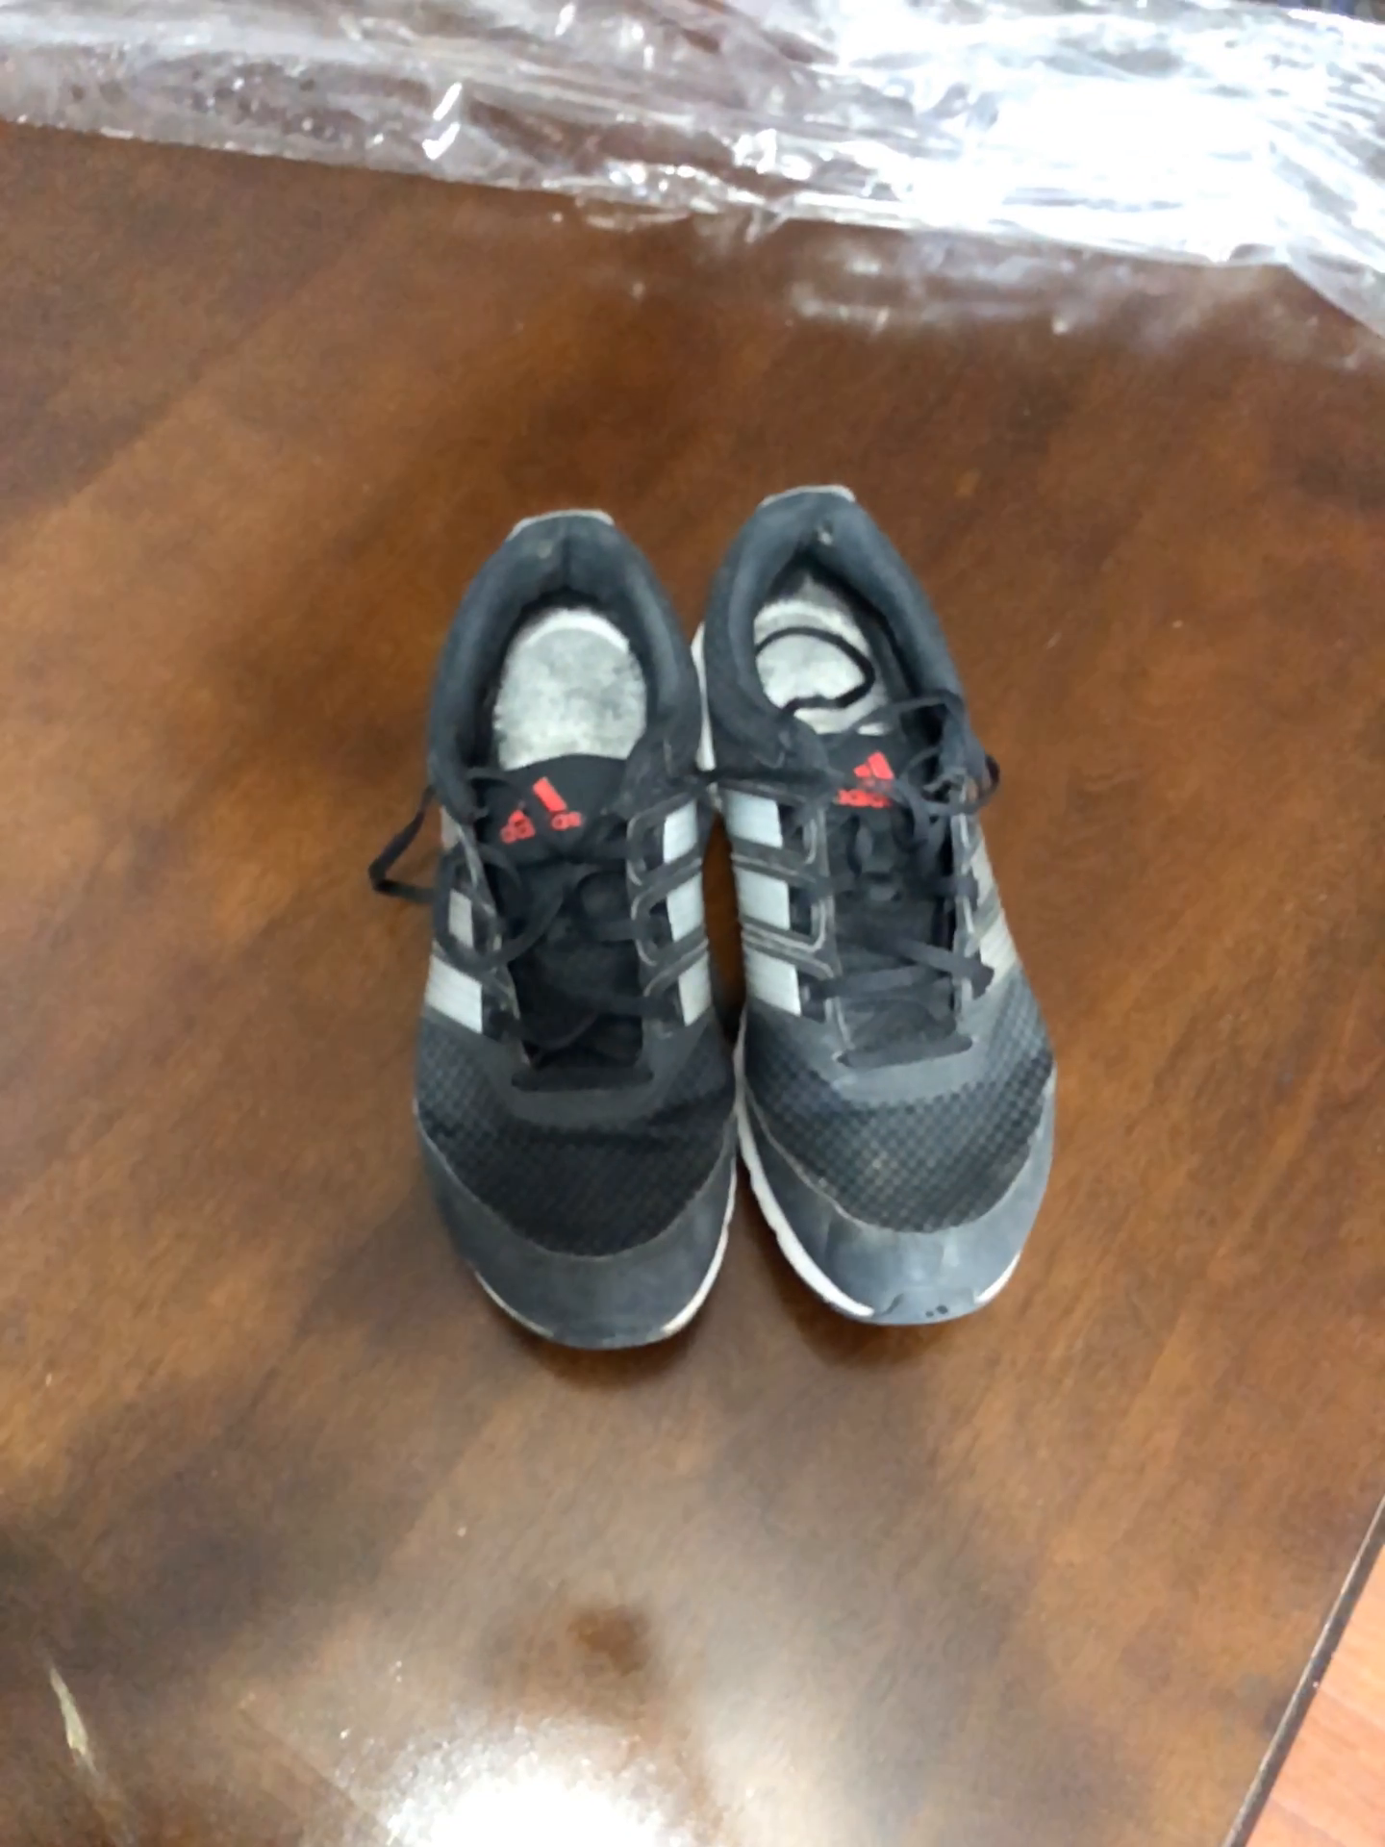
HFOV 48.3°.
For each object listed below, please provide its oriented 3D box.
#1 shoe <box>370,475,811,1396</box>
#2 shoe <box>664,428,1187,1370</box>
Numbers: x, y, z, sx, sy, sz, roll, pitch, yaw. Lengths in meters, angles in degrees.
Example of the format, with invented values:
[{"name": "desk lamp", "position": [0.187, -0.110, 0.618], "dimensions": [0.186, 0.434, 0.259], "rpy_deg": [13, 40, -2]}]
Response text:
[{"name": "shoe", "position": [-0.039, 0.001, 0.536], "dimensions": [0.120, 0.120, 0.290], "rpy_deg": [-3, 65, -3]}, {"name": "shoe", "position": [0.060, -0.010, 0.530], "dimensions": [0.120, 0.130, 0.290], "rpy_deg": [-3, 65, -3]}]
